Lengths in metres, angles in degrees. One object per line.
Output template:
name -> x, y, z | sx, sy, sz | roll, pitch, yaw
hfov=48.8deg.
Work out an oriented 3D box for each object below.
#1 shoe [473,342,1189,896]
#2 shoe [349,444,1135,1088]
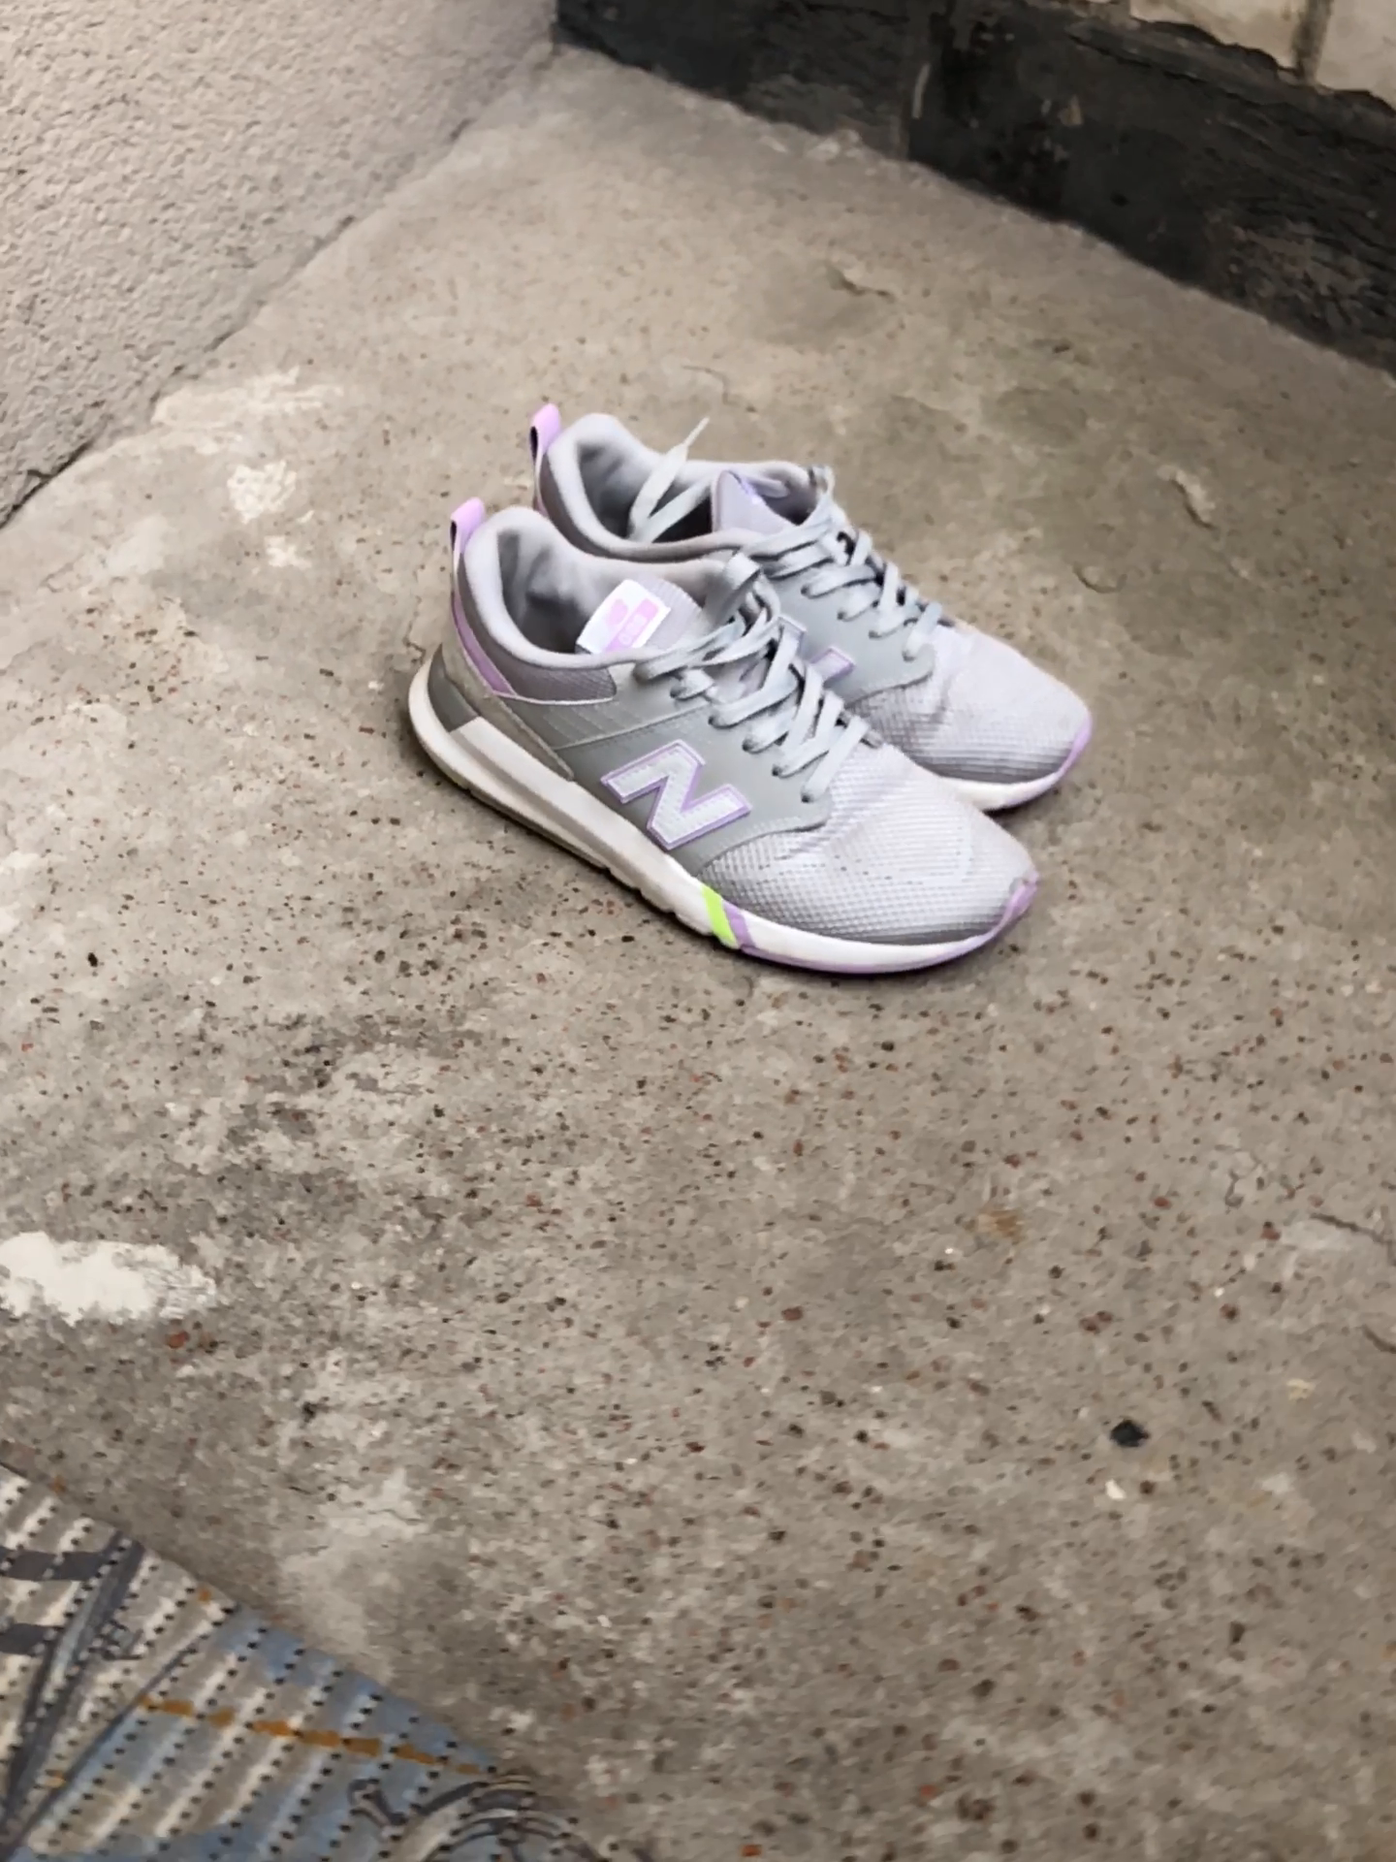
shoe -> 0.048, -0.139, 0.656 | 0.270, 0.099, 0.111 | 26, 49, 14
shoe -> 0.009, -0.071, 0.595 | 0.271, 0.099, 0.111 | 29, 51, 17
